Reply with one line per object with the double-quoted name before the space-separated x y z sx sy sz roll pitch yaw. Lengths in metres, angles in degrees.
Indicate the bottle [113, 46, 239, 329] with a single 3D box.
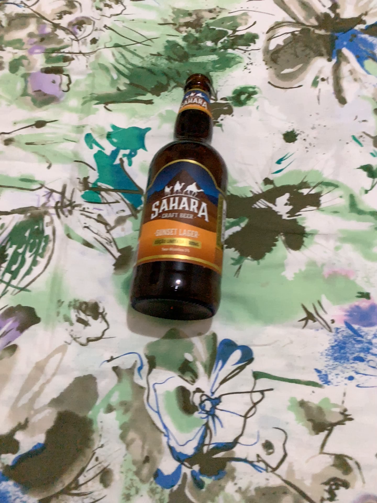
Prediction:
"bottle" -0.002 -0.064 0.352 0.080 0.070 0.250 5 68 2
